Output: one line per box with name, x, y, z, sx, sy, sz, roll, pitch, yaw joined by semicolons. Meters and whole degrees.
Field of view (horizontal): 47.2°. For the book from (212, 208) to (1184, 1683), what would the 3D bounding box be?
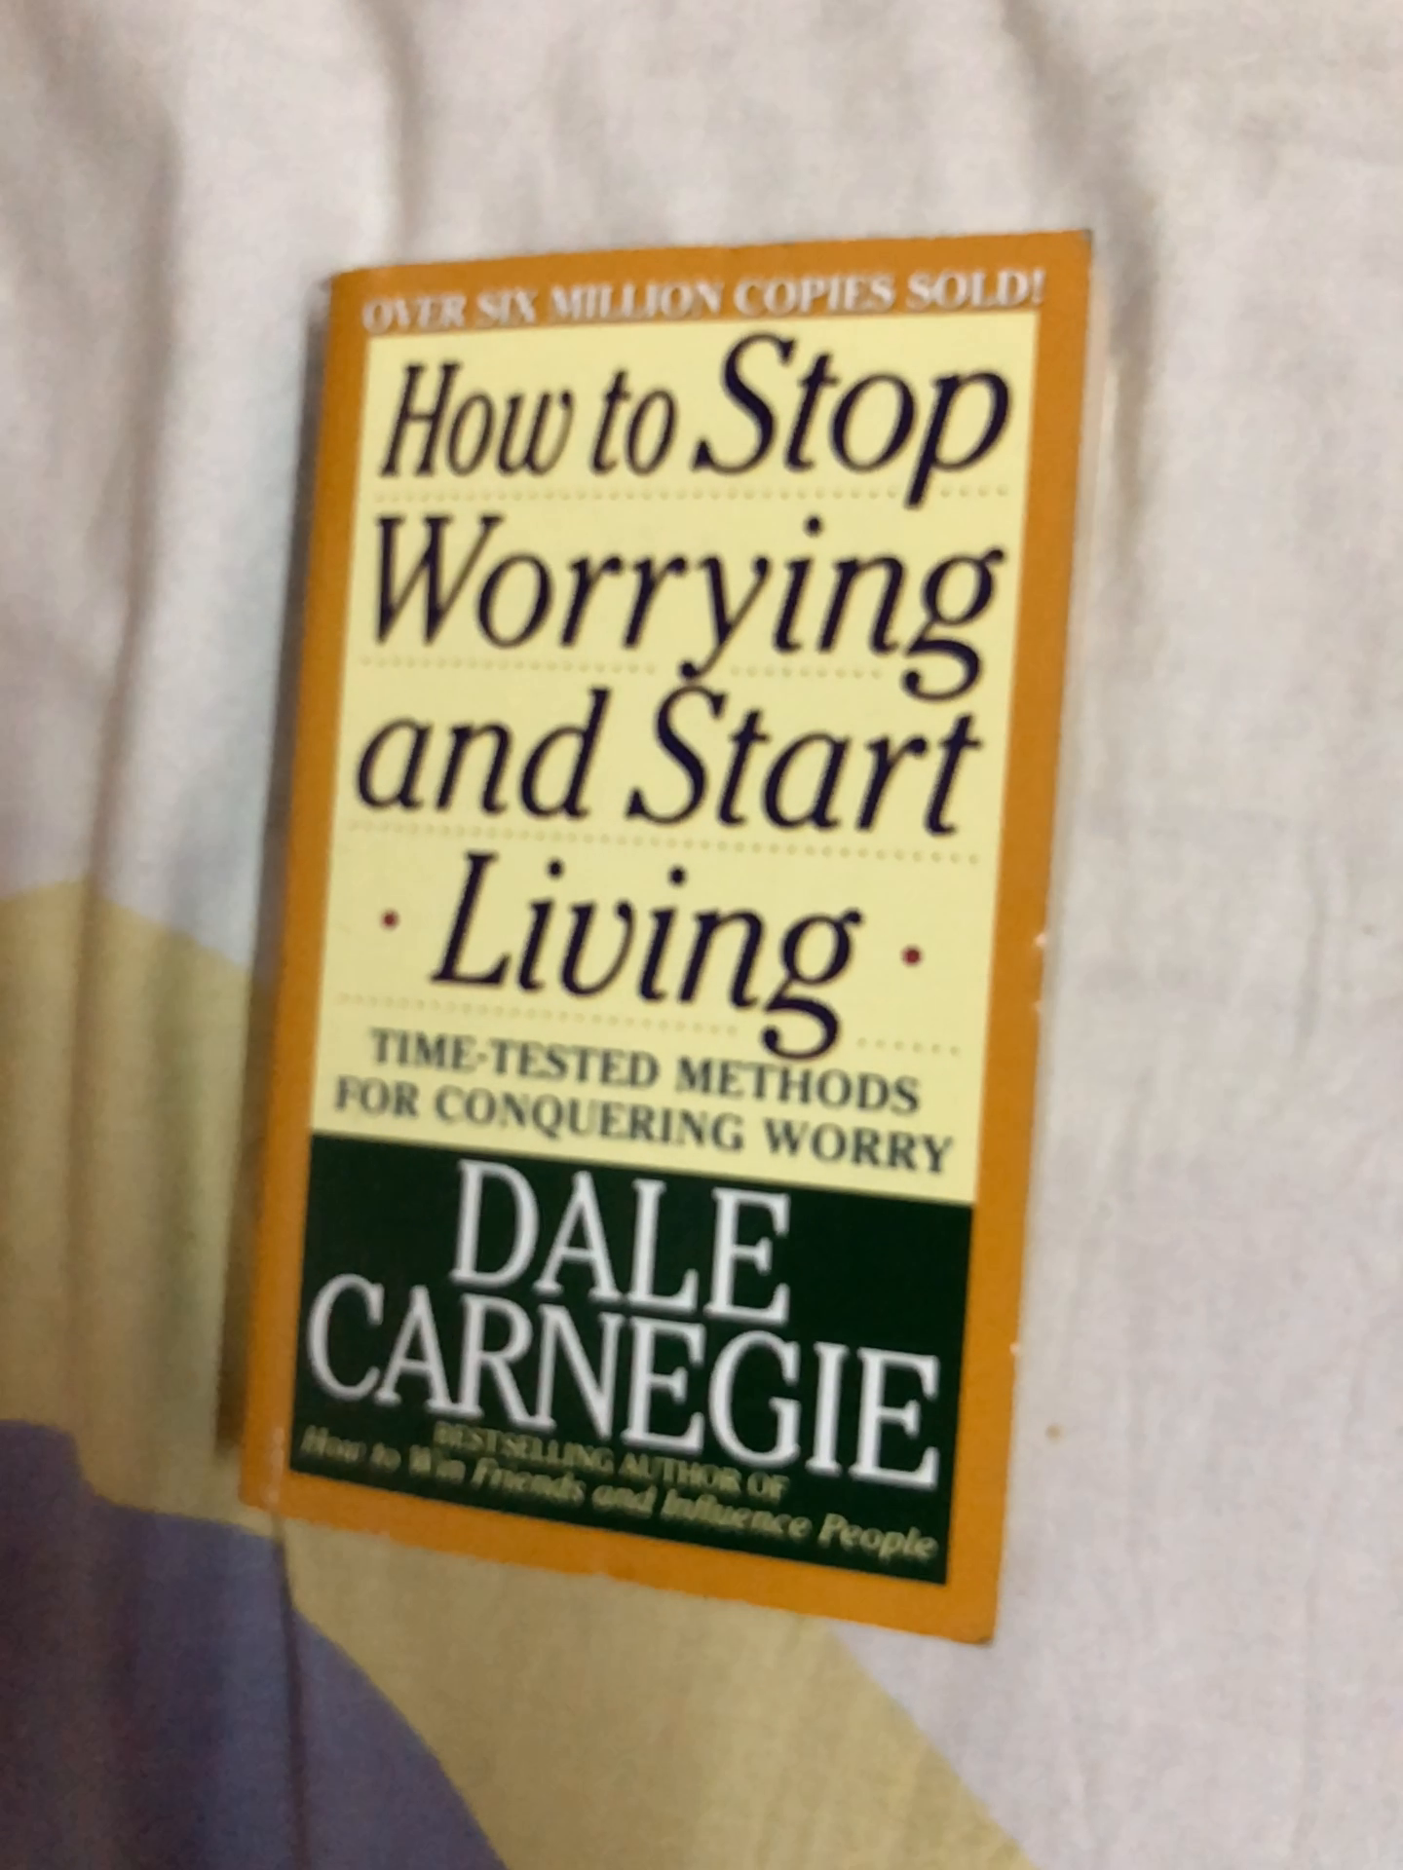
book;0.002;-0.002;0.221;0.110;0.050;0.170;4;89;12
